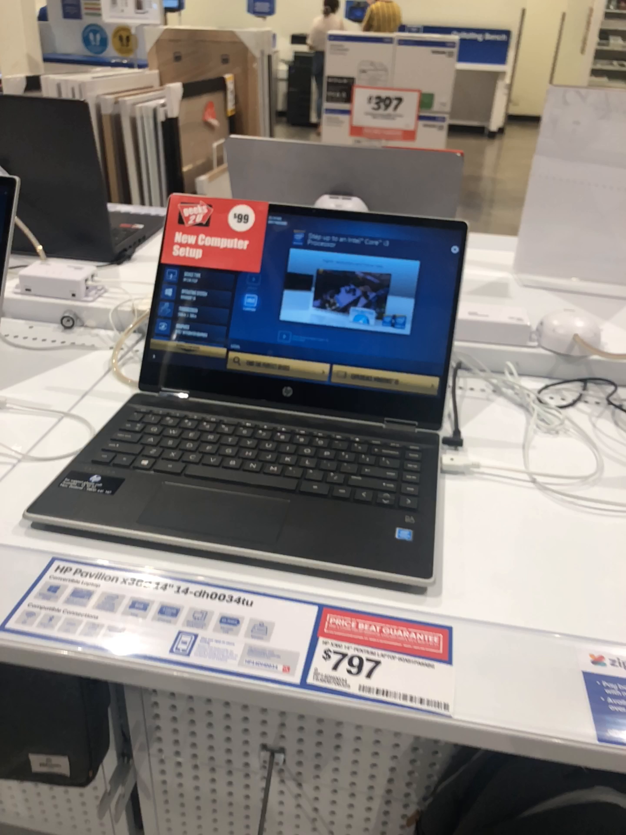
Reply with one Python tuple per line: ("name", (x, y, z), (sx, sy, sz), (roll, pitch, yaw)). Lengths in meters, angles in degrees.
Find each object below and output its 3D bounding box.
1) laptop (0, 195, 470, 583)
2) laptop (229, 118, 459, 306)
("laptop", (-0.036, -0.060, 0.619), (0.315, 0.169, 0.341), (8, 30, 7))
("laptop", (0.065, -0.349, 1.118), (0.306, 0.199, 0.358), (8, 29, 8))
